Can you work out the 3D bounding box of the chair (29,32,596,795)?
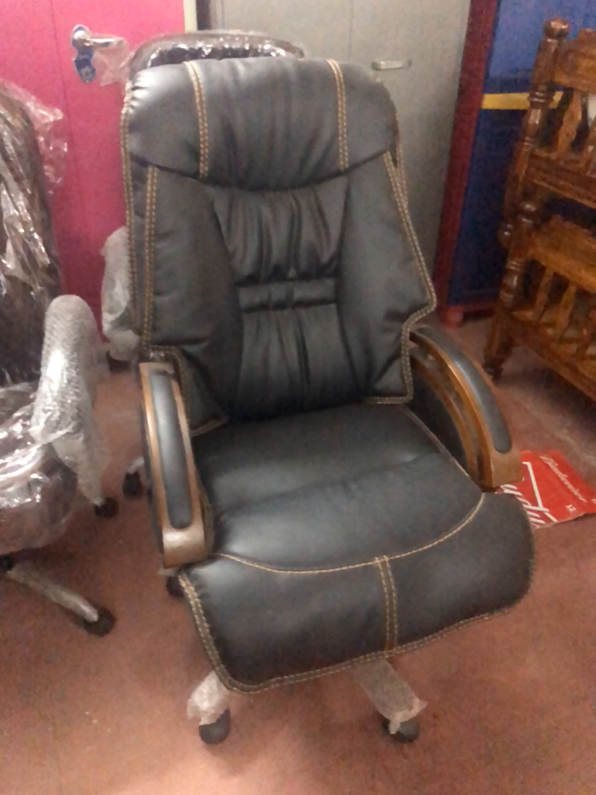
[{"bbox_3d":[0.022,-0.011,1.117,0.701,0.994,0.793,-9,35,-16],"label":"chair"}]
